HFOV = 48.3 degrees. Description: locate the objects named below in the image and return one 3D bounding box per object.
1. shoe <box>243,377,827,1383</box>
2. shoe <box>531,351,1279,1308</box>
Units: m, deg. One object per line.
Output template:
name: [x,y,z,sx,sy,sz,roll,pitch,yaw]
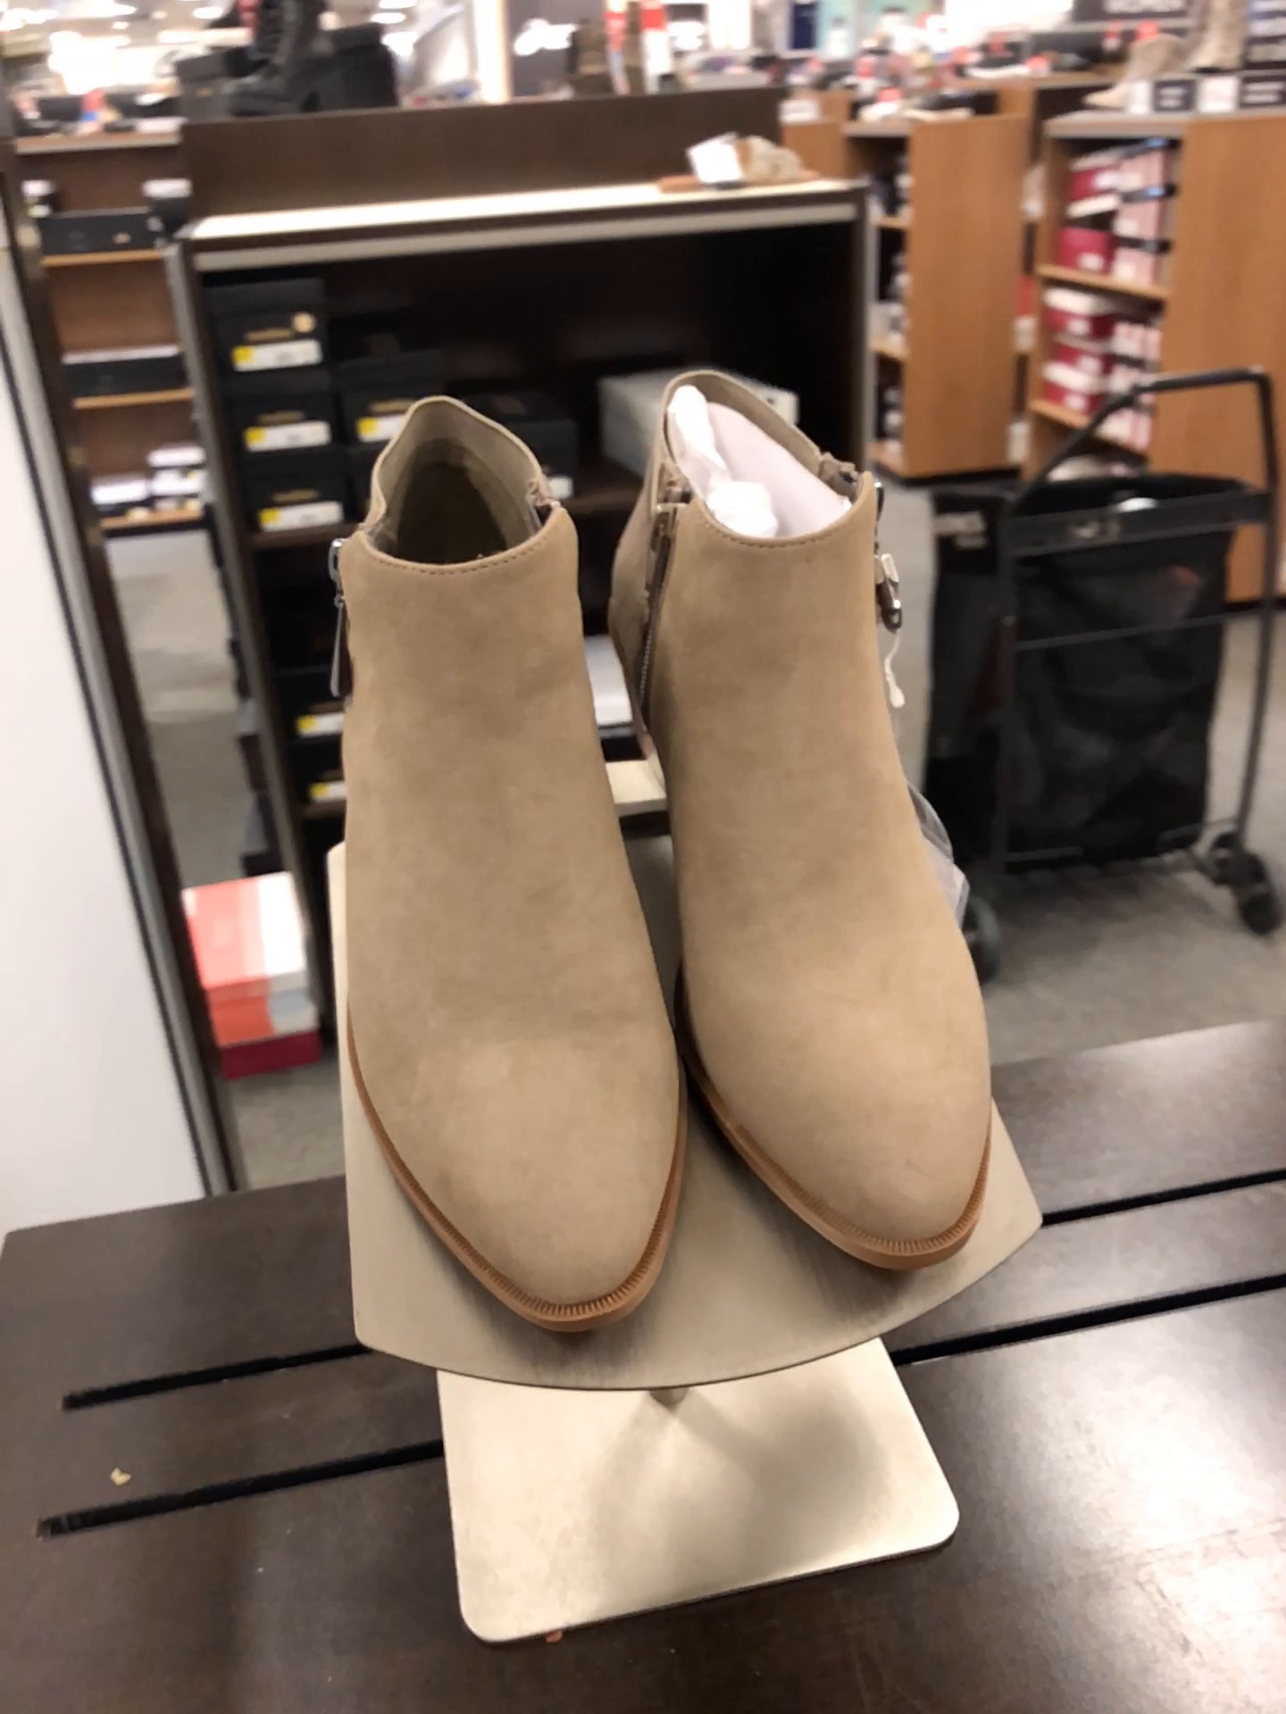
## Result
shoe: [-0.041,-0.015,0.380,0.094,0.152,0.231,-10,35,-11]
shoe: [0.044,-0.030,0.395,0.094,0.153,0.241,-10,33,-11]
